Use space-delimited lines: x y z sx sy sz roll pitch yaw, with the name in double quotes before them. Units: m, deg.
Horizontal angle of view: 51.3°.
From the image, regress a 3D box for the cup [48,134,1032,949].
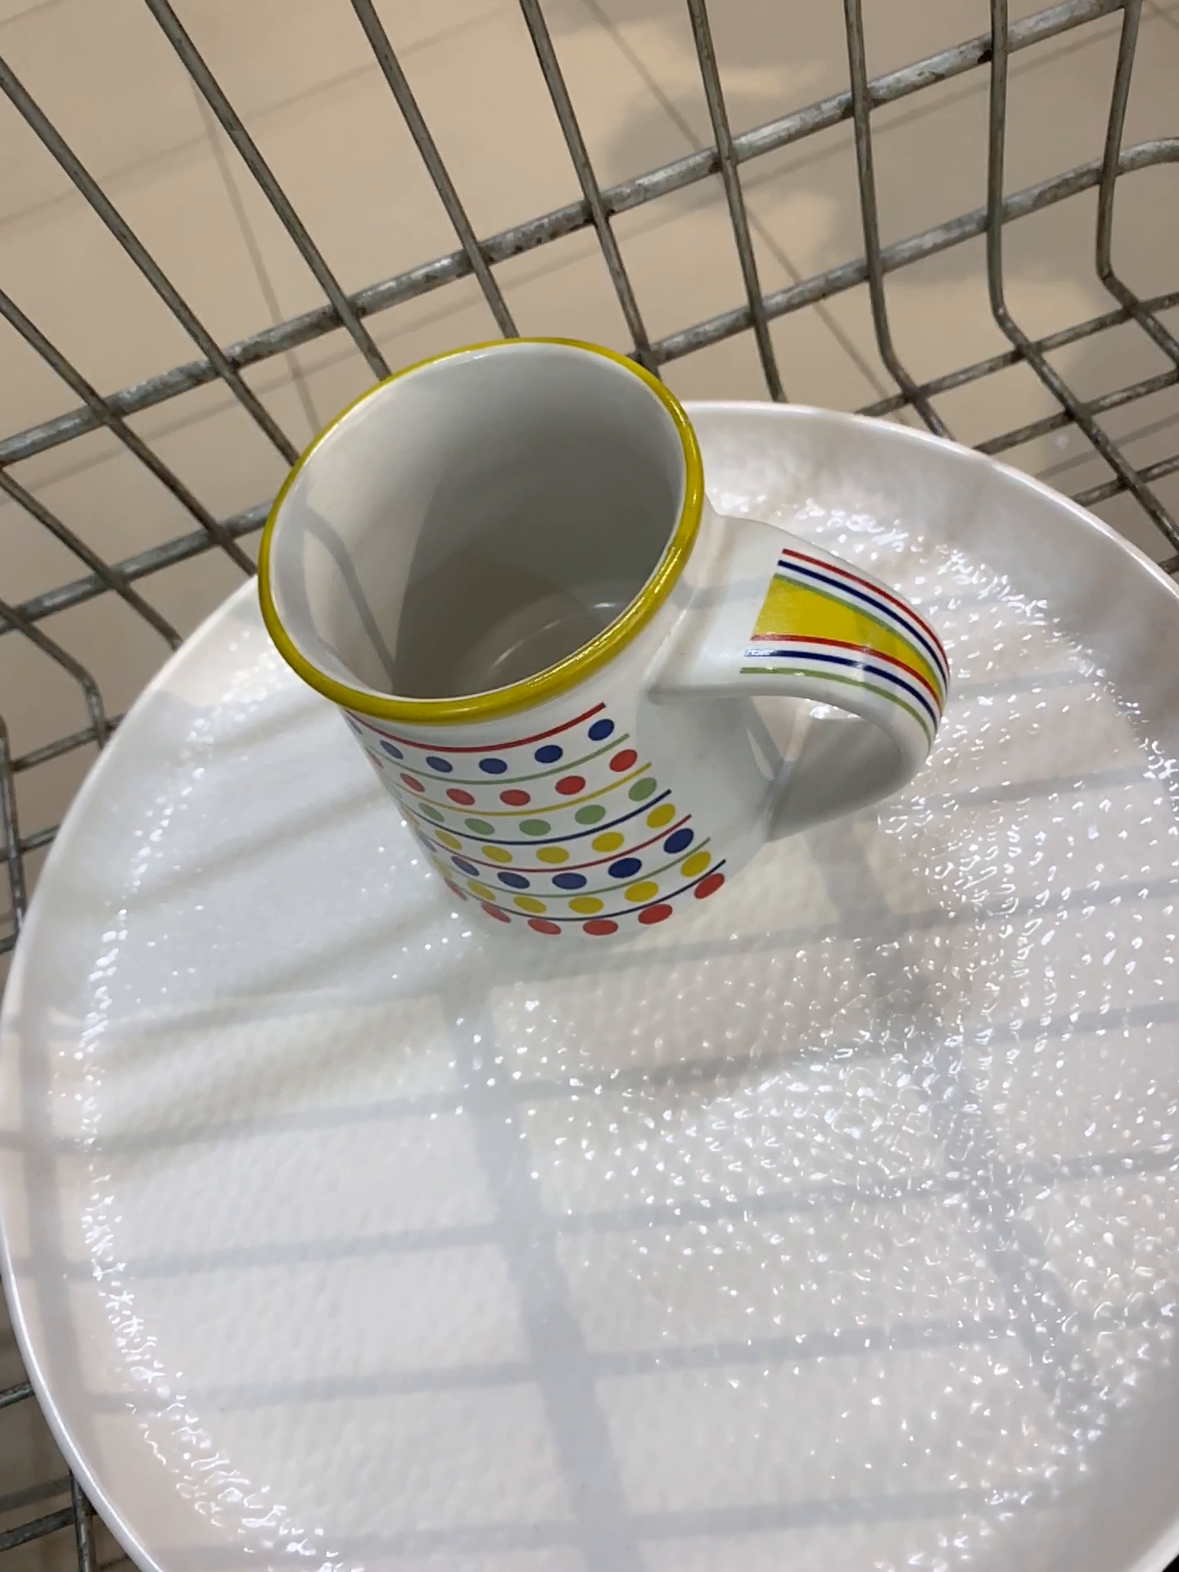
"cup" 0.002 -0.029 0.207 0.120 0.100 0.080 -2 61 12
